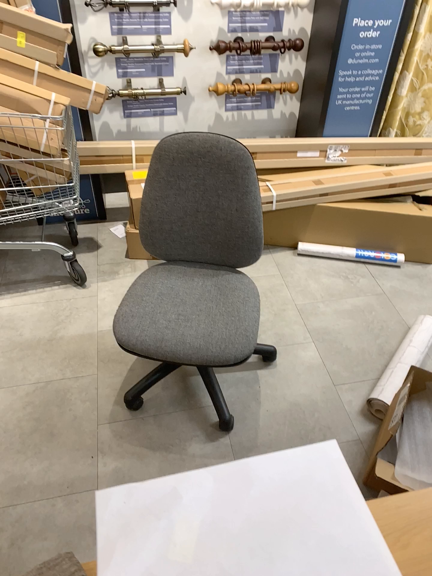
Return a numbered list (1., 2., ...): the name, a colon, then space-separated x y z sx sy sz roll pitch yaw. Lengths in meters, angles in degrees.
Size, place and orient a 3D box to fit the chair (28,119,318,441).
1. chair: -0.068 -0.029 1.415 0.627 0.750 0.629 6 42 5
